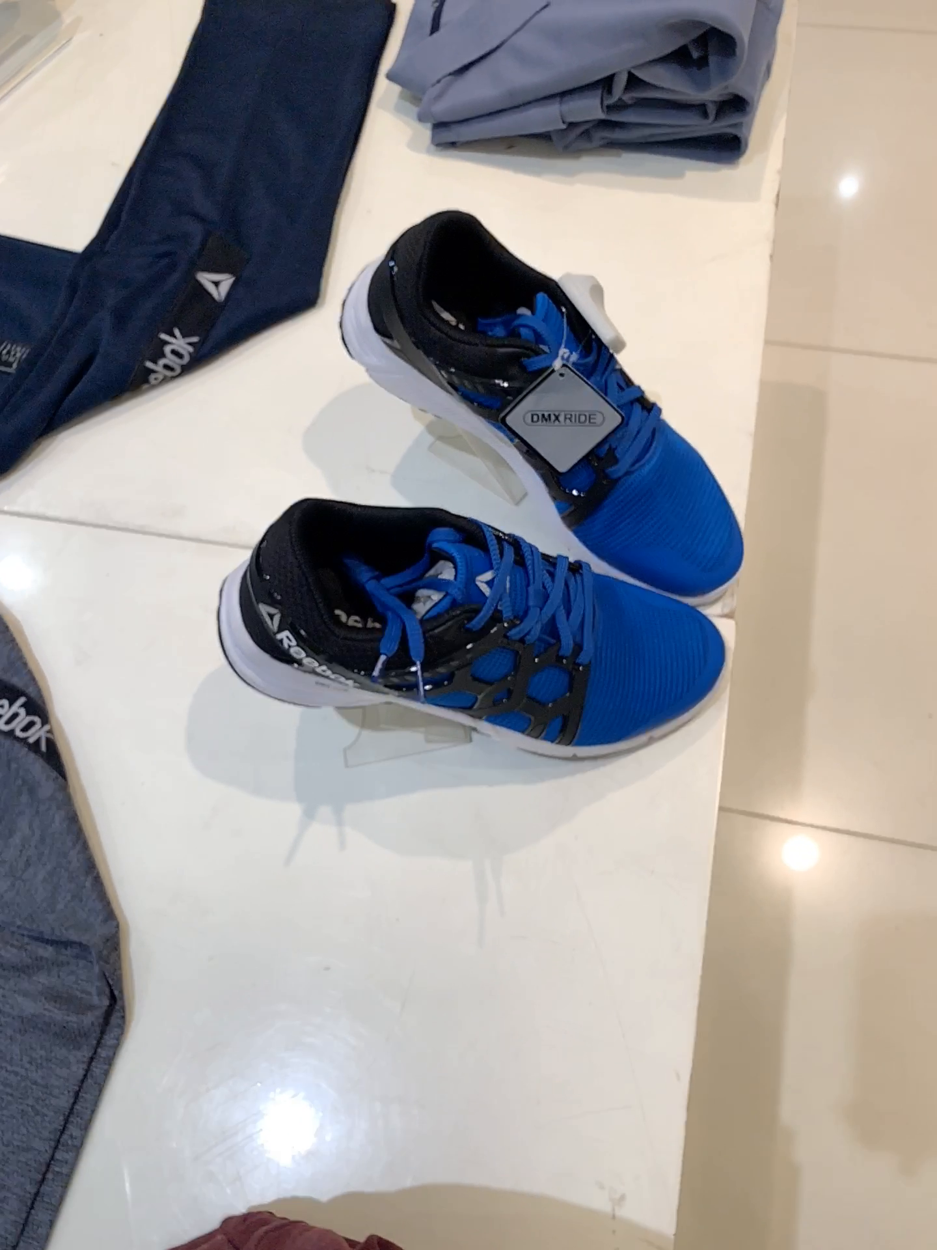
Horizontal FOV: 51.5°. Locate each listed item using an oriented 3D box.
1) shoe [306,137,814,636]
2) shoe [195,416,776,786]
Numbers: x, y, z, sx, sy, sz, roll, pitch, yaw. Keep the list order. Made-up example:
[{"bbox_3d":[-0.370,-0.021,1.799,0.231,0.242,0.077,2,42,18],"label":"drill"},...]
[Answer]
[{"bbox_3d":[0.063,-0.115,0.551,0.289,0.080,0.100,37,71,-25],"label":"shoe"},{"bbox_3d":[0.013,0.001,0.513,0.280,0.100,0.100,14,54,-27],"label":"shoe"}]
